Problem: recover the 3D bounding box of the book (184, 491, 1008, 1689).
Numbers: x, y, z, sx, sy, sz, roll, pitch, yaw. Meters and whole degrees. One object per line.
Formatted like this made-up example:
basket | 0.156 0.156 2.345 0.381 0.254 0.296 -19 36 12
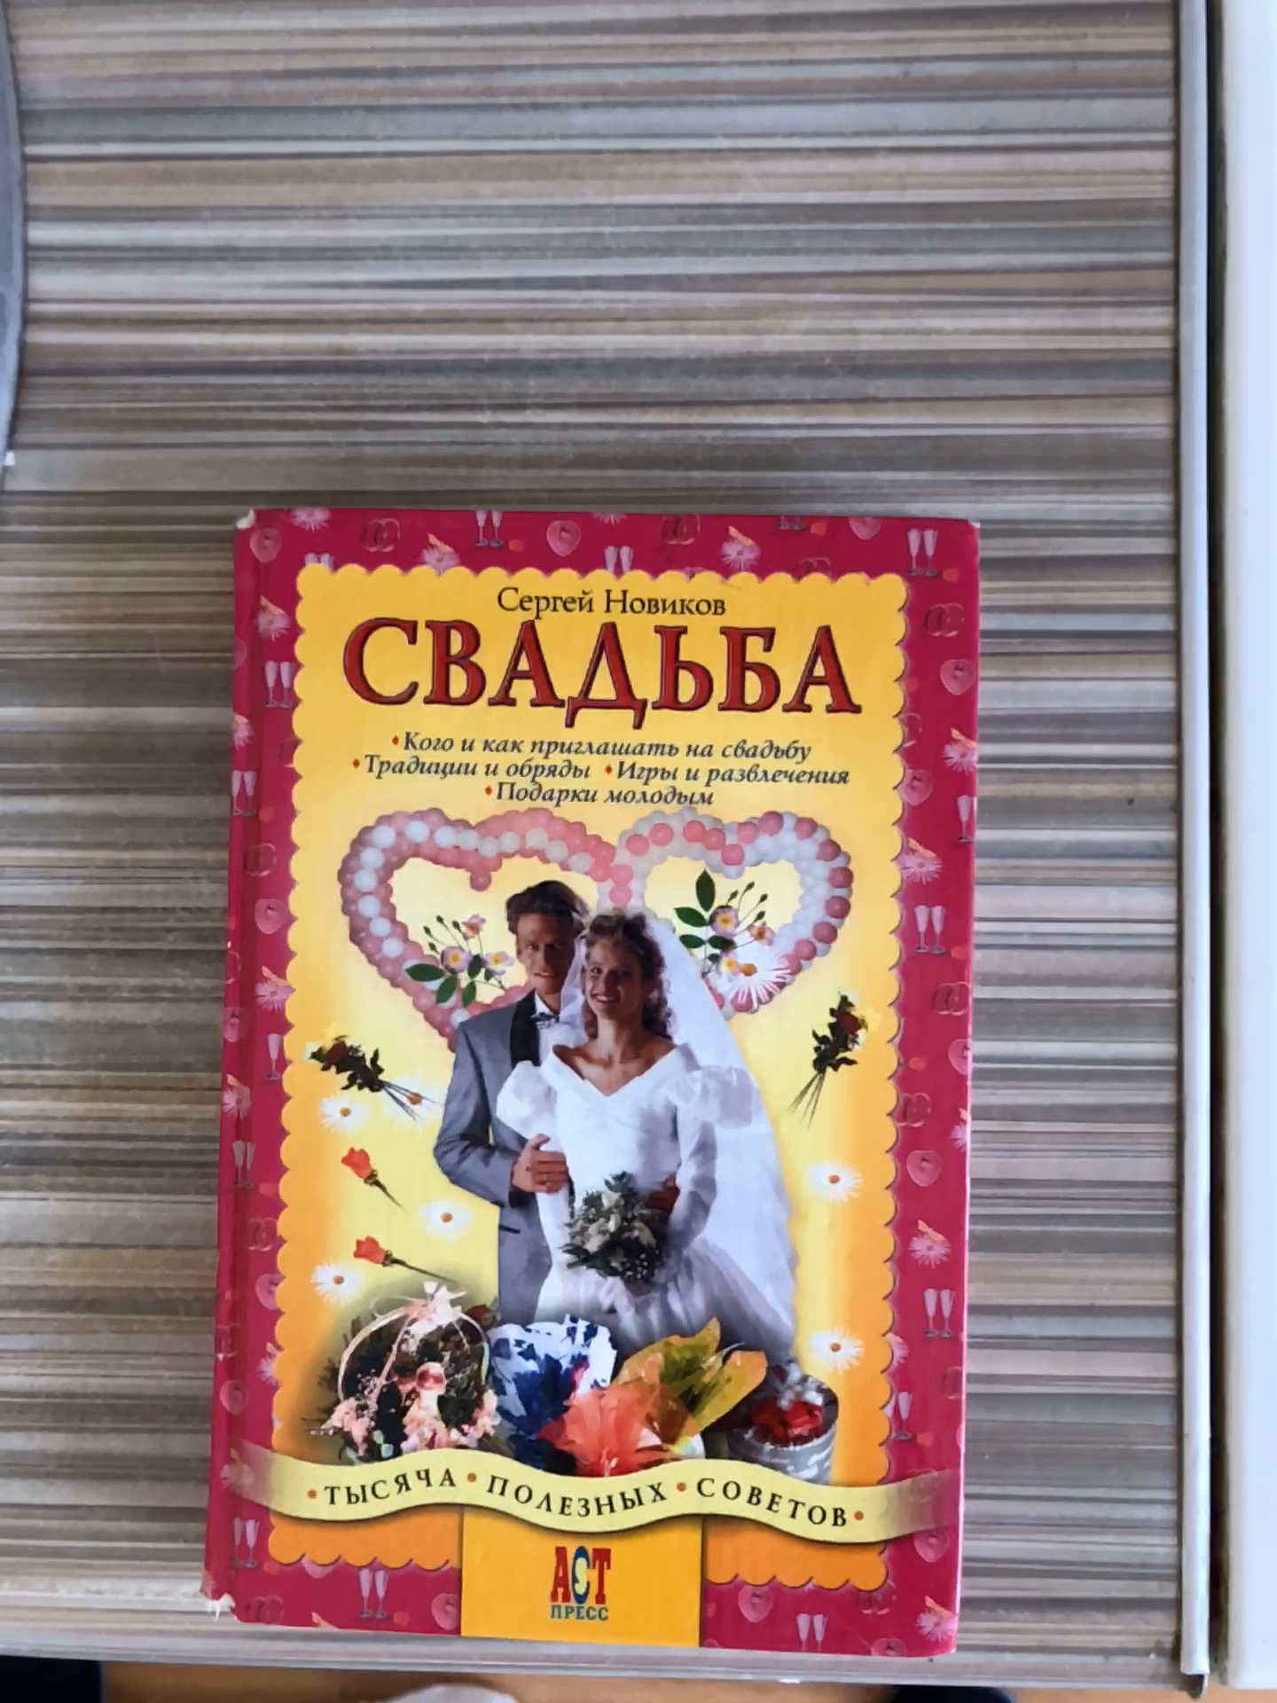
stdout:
book | -0.007 0.043 0.276 0.150 0.020 0.220 1 88 2
